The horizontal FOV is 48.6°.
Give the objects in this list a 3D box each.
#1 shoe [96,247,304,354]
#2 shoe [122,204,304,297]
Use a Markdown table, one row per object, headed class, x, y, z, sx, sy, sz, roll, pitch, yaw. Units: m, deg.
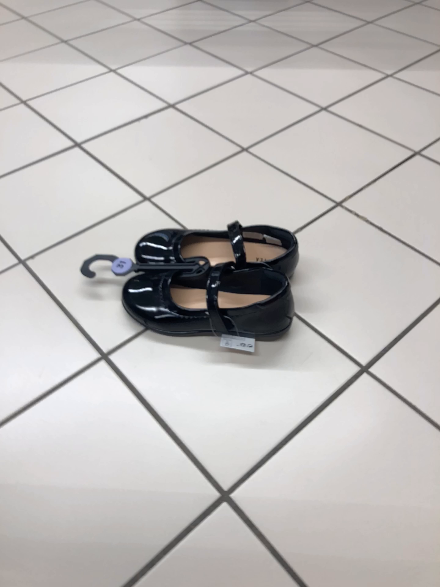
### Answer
| class | x | y | z | sx | sy | sz | roll | pitch | yaw |
| --- | --- | --- | --- | --- | --- | --- | --- | --- | --- |
| shoe | -0.018 | 0.006 | 0.539 | 0.210 | 0.052 | 0.079 | 7 | 48 | 7 |
| shoe | -0.005 | -0.054 | 0.591 | 0.204 | 0.056 | 0.079 | 6 | 48 | 6 |
